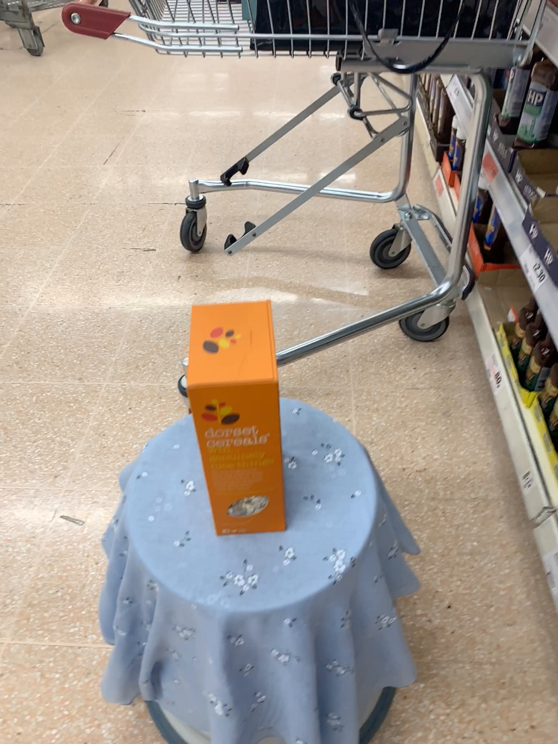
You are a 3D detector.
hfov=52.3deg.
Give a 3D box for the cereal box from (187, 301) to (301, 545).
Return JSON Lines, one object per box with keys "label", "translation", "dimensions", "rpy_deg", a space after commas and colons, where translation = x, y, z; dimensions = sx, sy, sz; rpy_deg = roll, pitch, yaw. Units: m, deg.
{"label": "cereal box", "translation": [-0.031, 0.060, 0.582], "dimensions": [0.090, 0.228, 0.121], "rpy_deg": [-5, 44, -2]}
